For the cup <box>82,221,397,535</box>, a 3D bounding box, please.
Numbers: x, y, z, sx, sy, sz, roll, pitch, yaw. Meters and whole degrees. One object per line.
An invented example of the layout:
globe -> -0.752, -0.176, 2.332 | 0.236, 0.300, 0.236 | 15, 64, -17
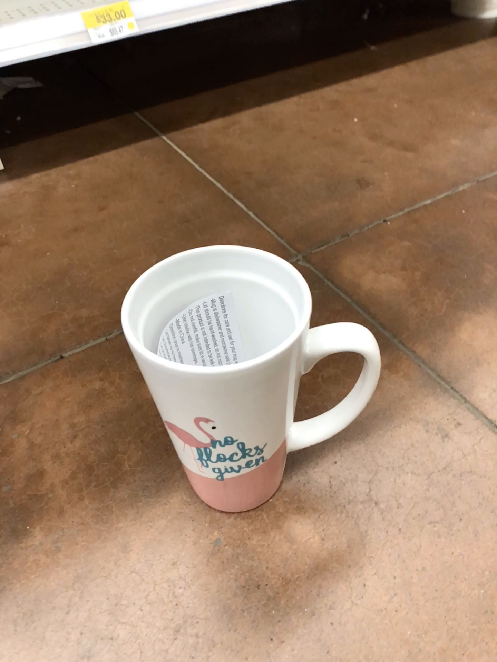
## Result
cup -> -0.002, 0.030, 0.312 | 0.130, 0.140, 0.100 | -4, 44, 1
